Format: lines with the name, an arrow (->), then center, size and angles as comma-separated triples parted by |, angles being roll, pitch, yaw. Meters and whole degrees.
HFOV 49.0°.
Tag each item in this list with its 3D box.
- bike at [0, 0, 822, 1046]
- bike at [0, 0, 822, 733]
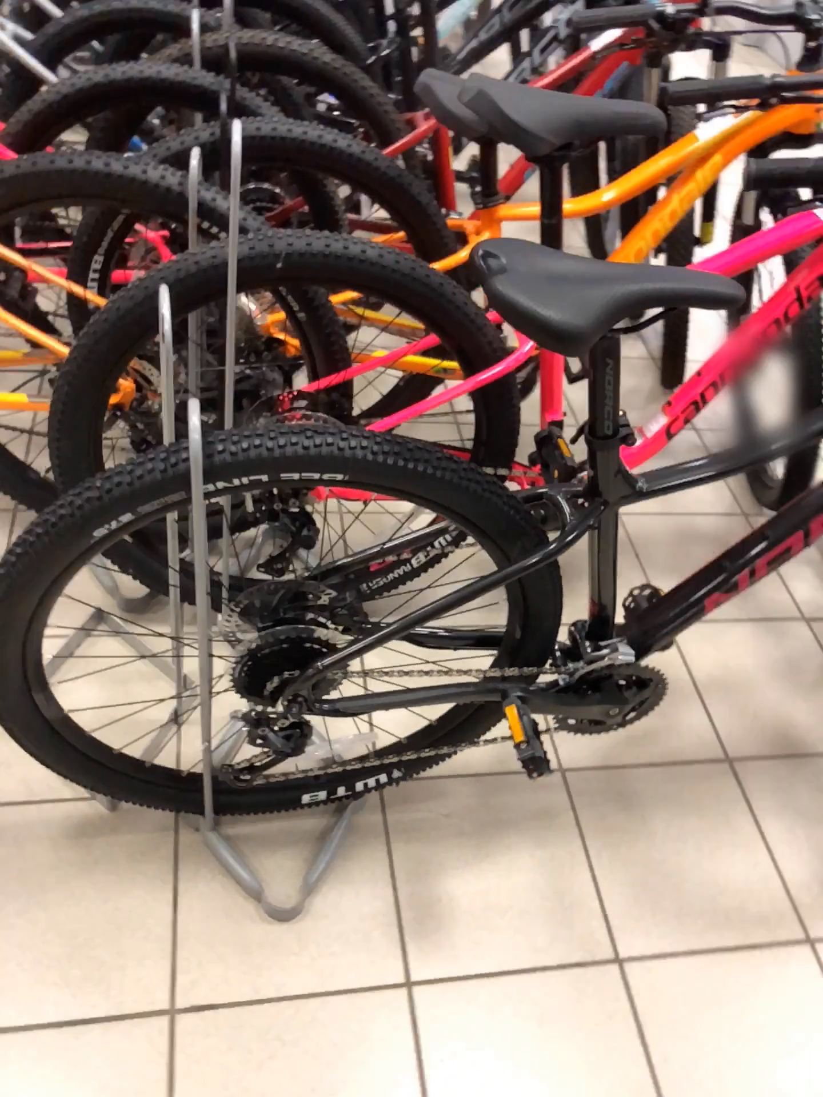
bike -> 0.264, -0.177, 1.270 | 1.581, 1.101, 0.687 | -8, 47, -23
bike -> 0.232, -0.488, 1.531 | 1.567, 1.074, 0.655 | -10, 48, -20
